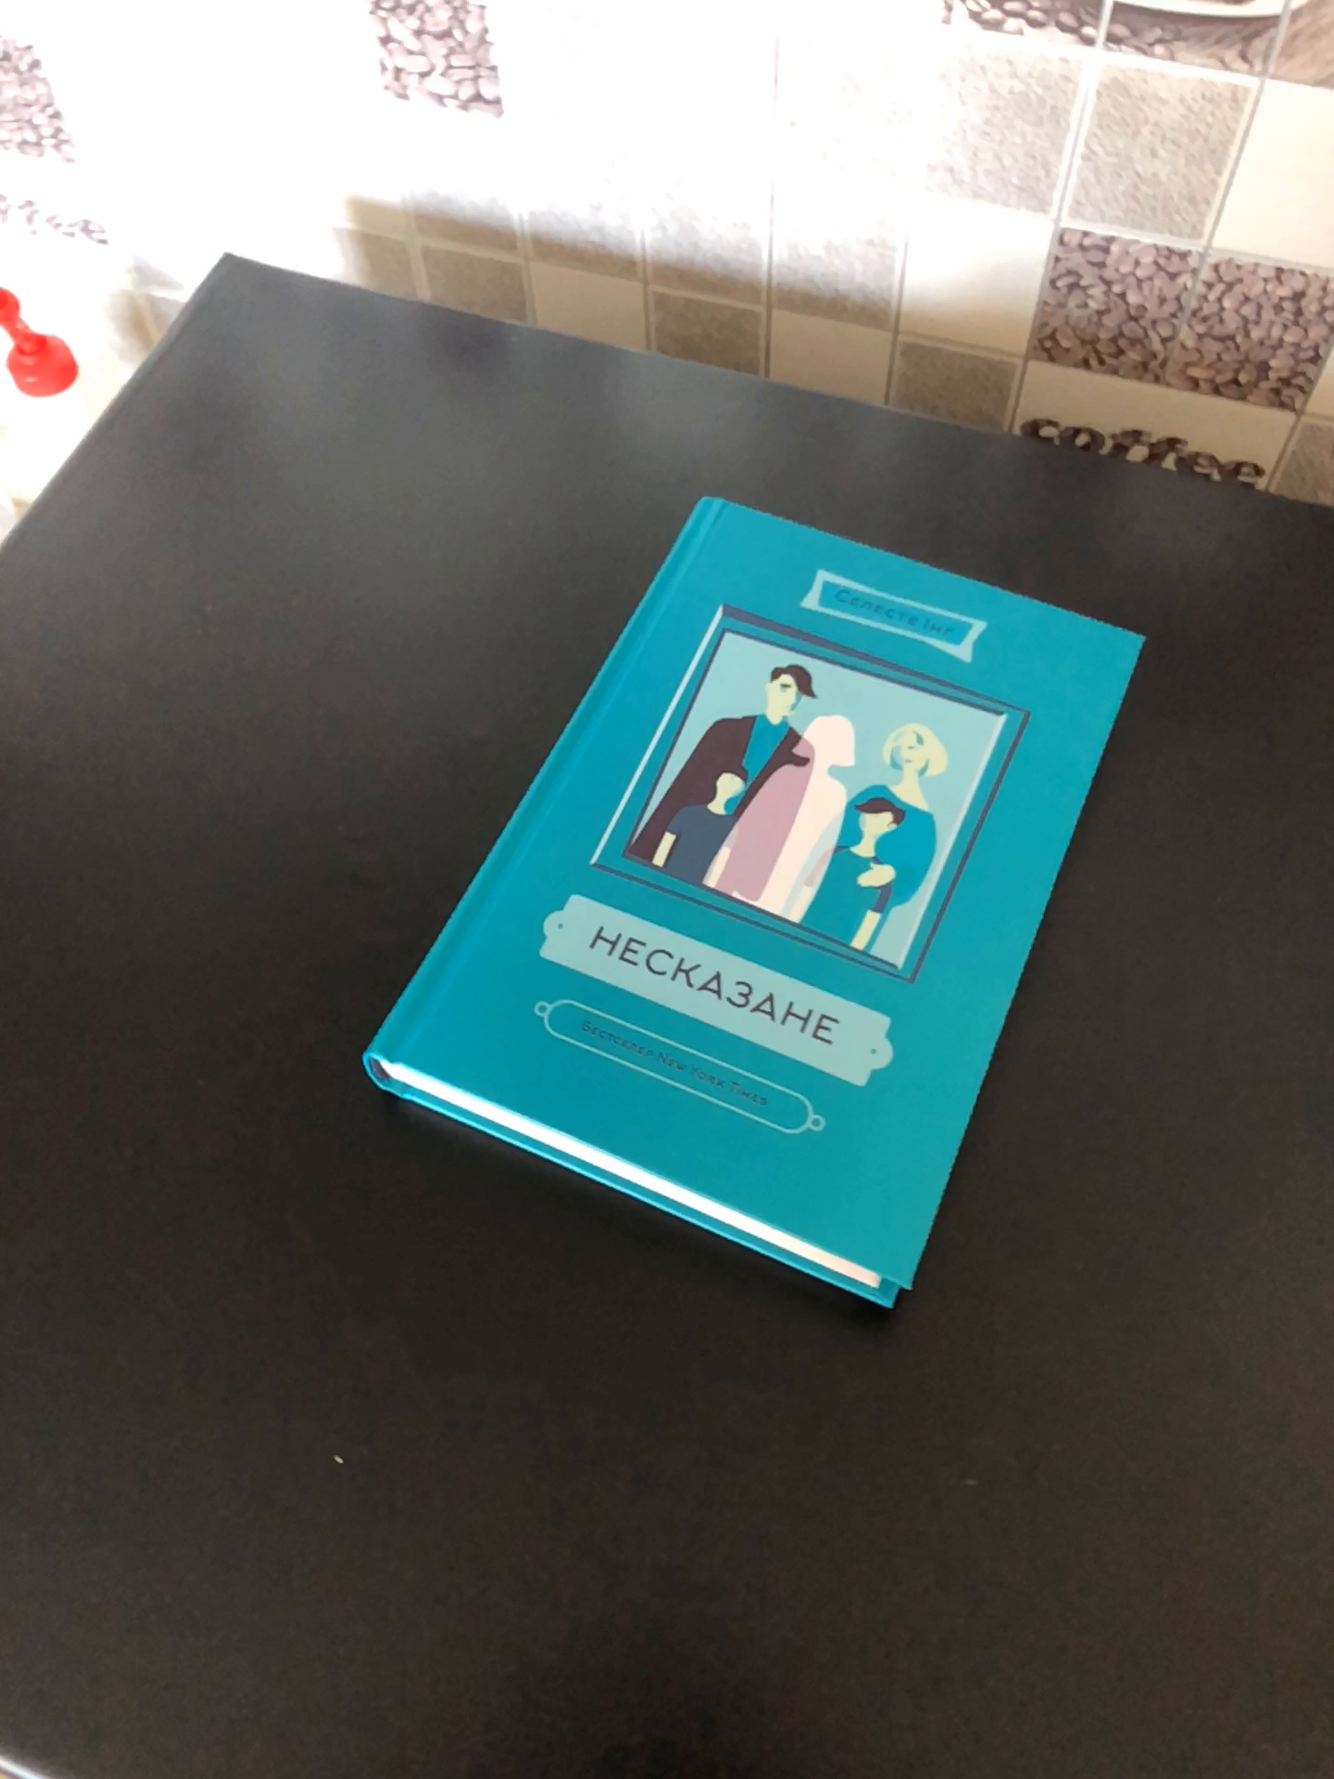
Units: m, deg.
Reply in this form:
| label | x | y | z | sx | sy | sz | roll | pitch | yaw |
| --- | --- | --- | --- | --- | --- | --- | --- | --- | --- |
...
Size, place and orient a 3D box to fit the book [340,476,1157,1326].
| label | x | y | z | sx | sy | sz | roll | pitch | yaw |
| --- | --- | --- | --- | --- | --- | --- | --- | --- | --- |
| book | 0.031 | -0.011 | 0.410 | 0.150 | 0.030 | 0.211 | 21 | 63 | 13 |
